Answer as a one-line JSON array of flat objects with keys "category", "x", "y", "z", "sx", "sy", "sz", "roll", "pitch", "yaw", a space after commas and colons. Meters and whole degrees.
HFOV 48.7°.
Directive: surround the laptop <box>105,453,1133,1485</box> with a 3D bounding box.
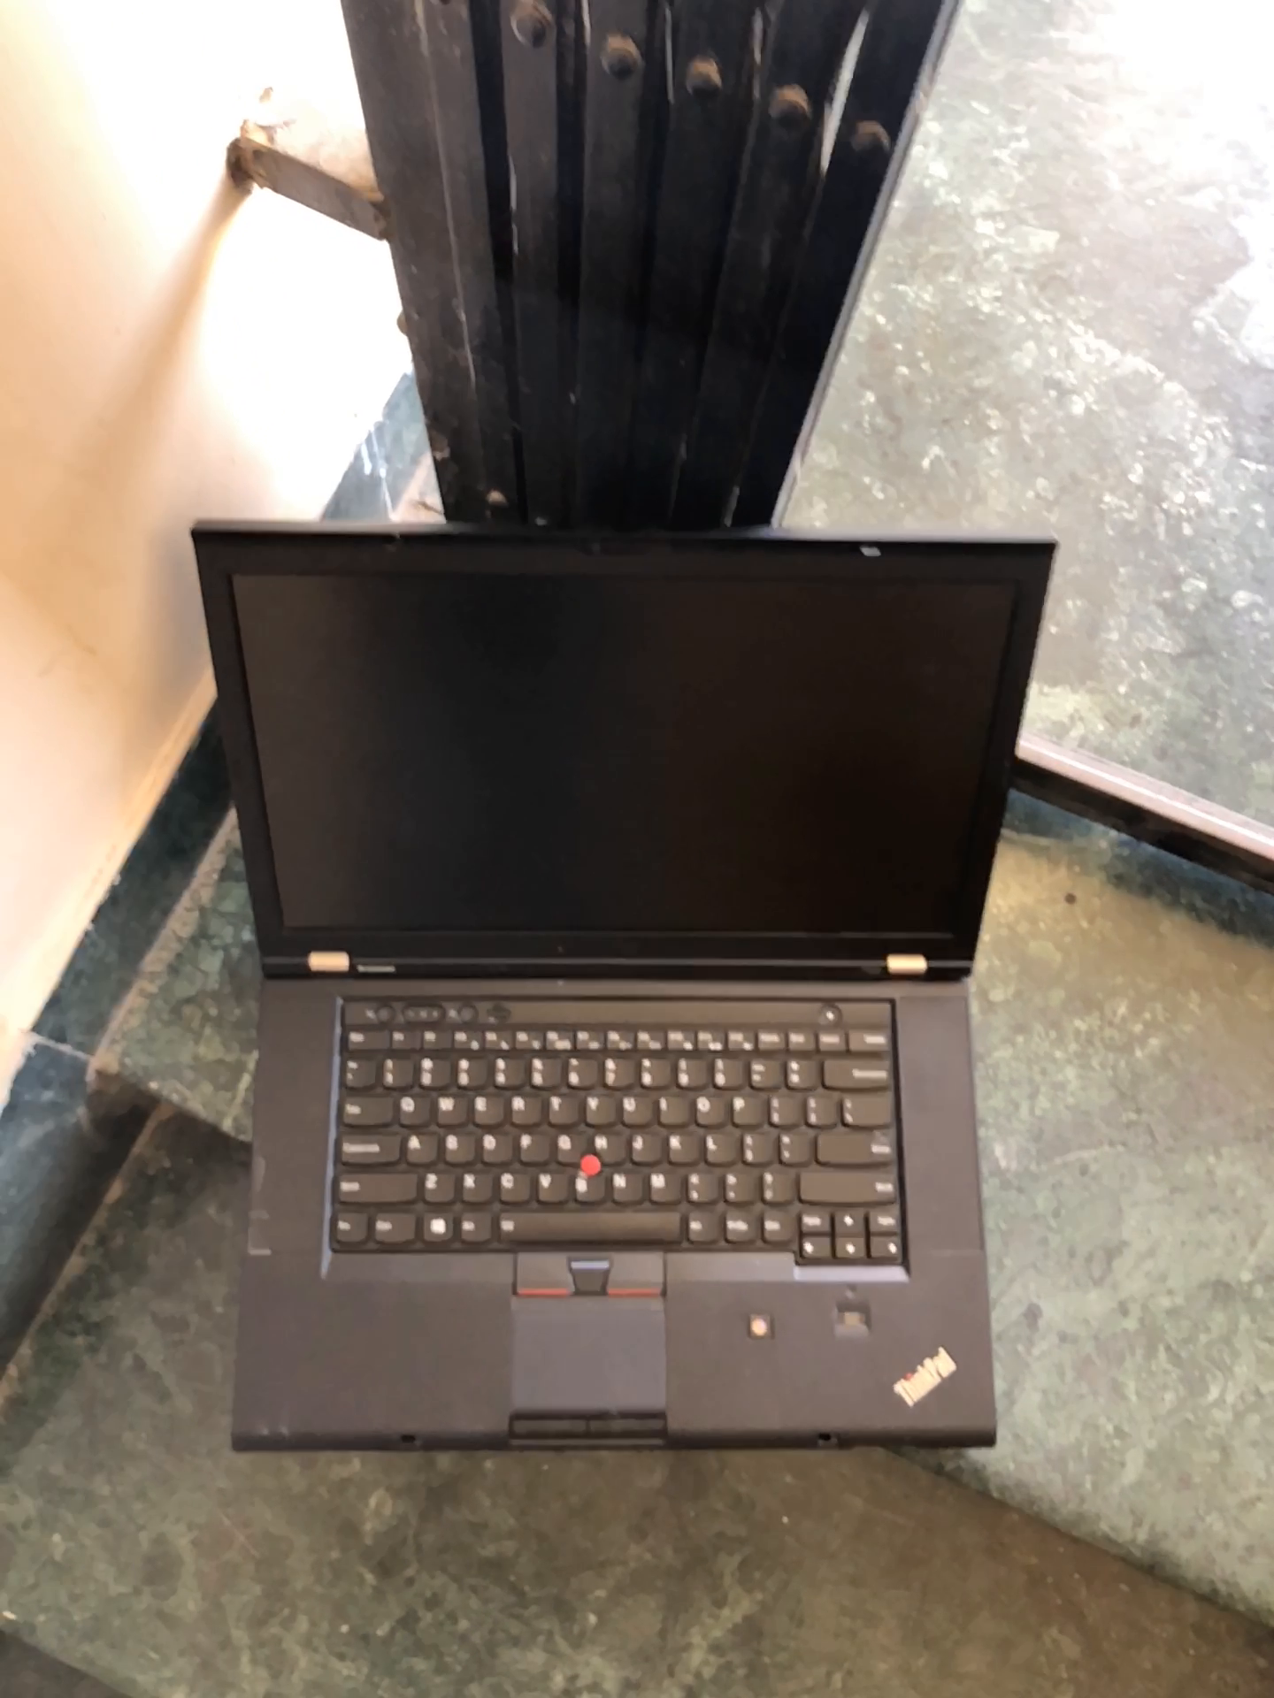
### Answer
[{"category": "laptop", "x": -0.007, "y": 0.060, "z": 0.618, "sx": 0.359, "sy": 0.182, "sz": 0.388, "roll": 0, "pitch": 77, "yaw": -2}]
